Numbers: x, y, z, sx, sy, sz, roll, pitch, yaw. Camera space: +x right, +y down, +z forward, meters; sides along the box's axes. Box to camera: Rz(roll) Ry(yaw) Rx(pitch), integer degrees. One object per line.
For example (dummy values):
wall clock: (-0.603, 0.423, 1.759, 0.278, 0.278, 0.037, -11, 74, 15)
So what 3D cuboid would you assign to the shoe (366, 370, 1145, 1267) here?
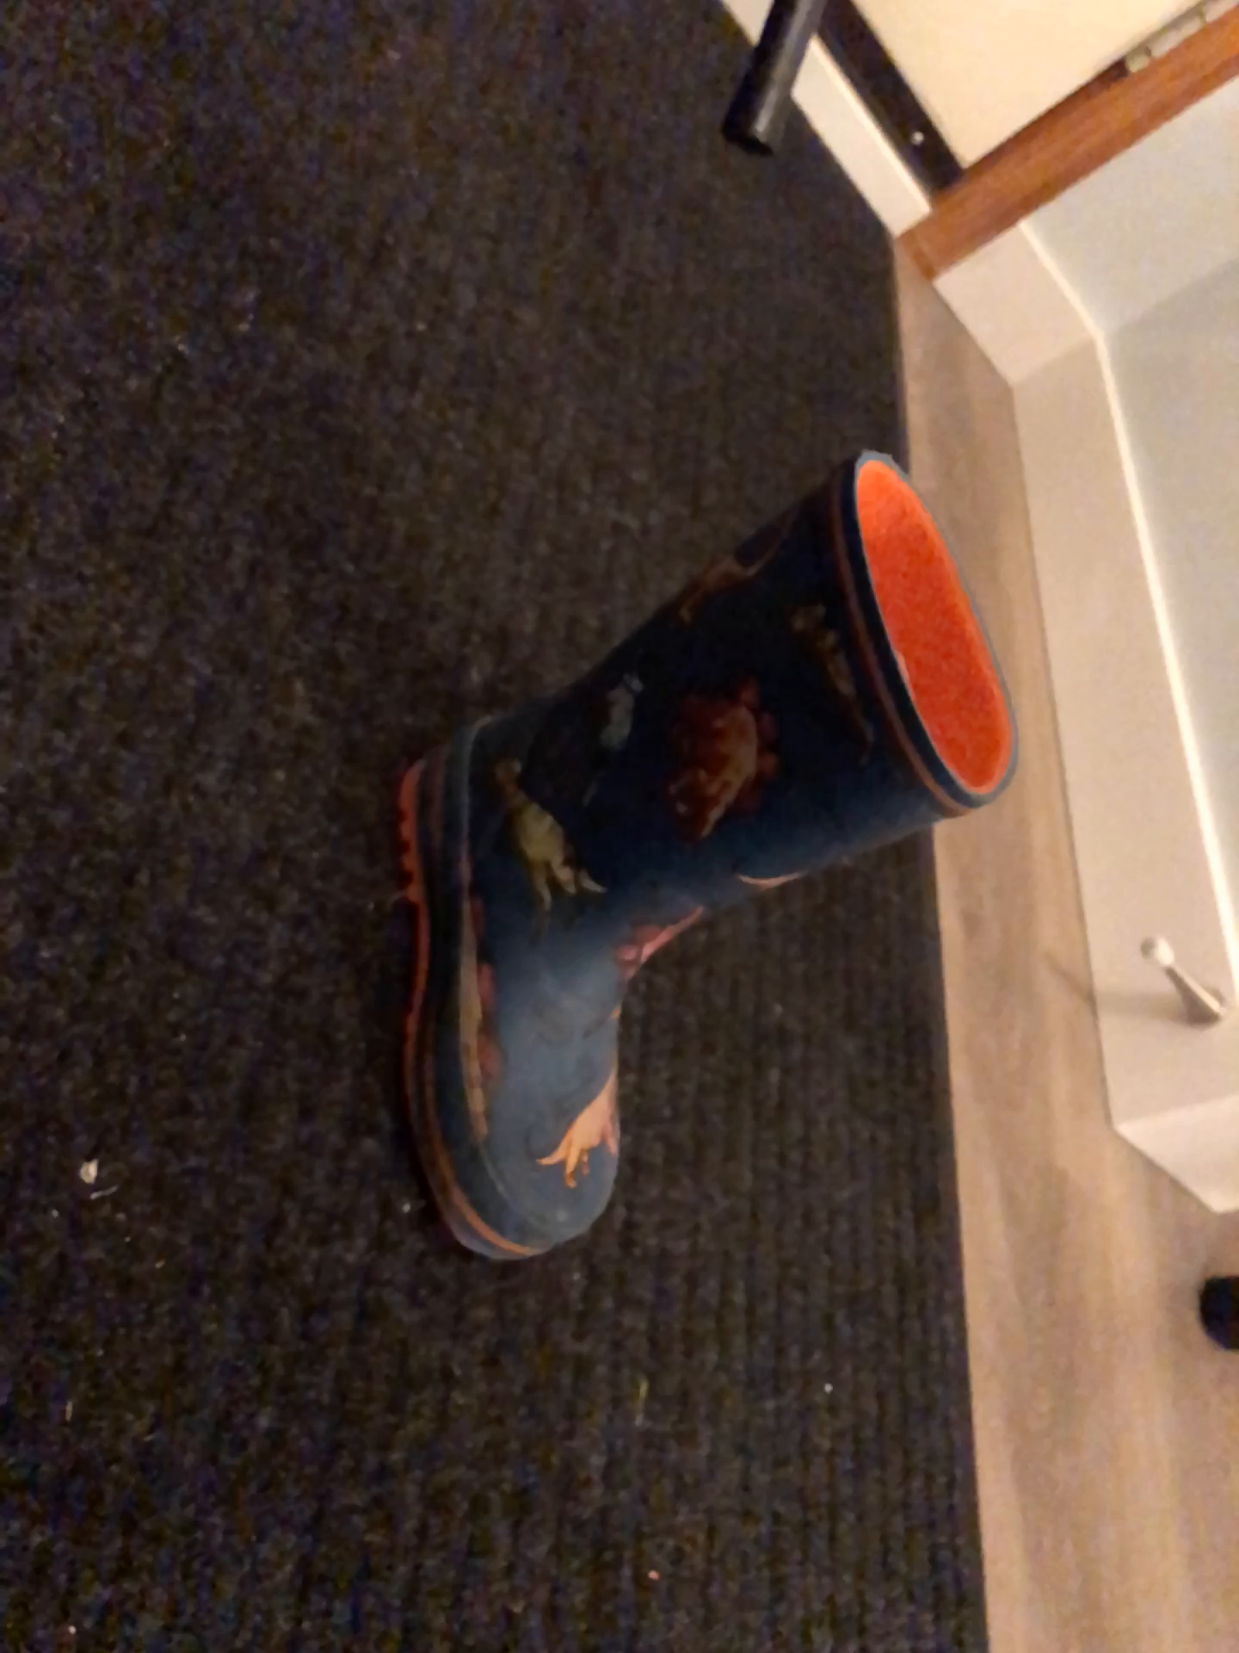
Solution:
shoe: (0.022, 0.010, 0.397, 0.080, 0.179, 0.190, 21, 52, -46)
